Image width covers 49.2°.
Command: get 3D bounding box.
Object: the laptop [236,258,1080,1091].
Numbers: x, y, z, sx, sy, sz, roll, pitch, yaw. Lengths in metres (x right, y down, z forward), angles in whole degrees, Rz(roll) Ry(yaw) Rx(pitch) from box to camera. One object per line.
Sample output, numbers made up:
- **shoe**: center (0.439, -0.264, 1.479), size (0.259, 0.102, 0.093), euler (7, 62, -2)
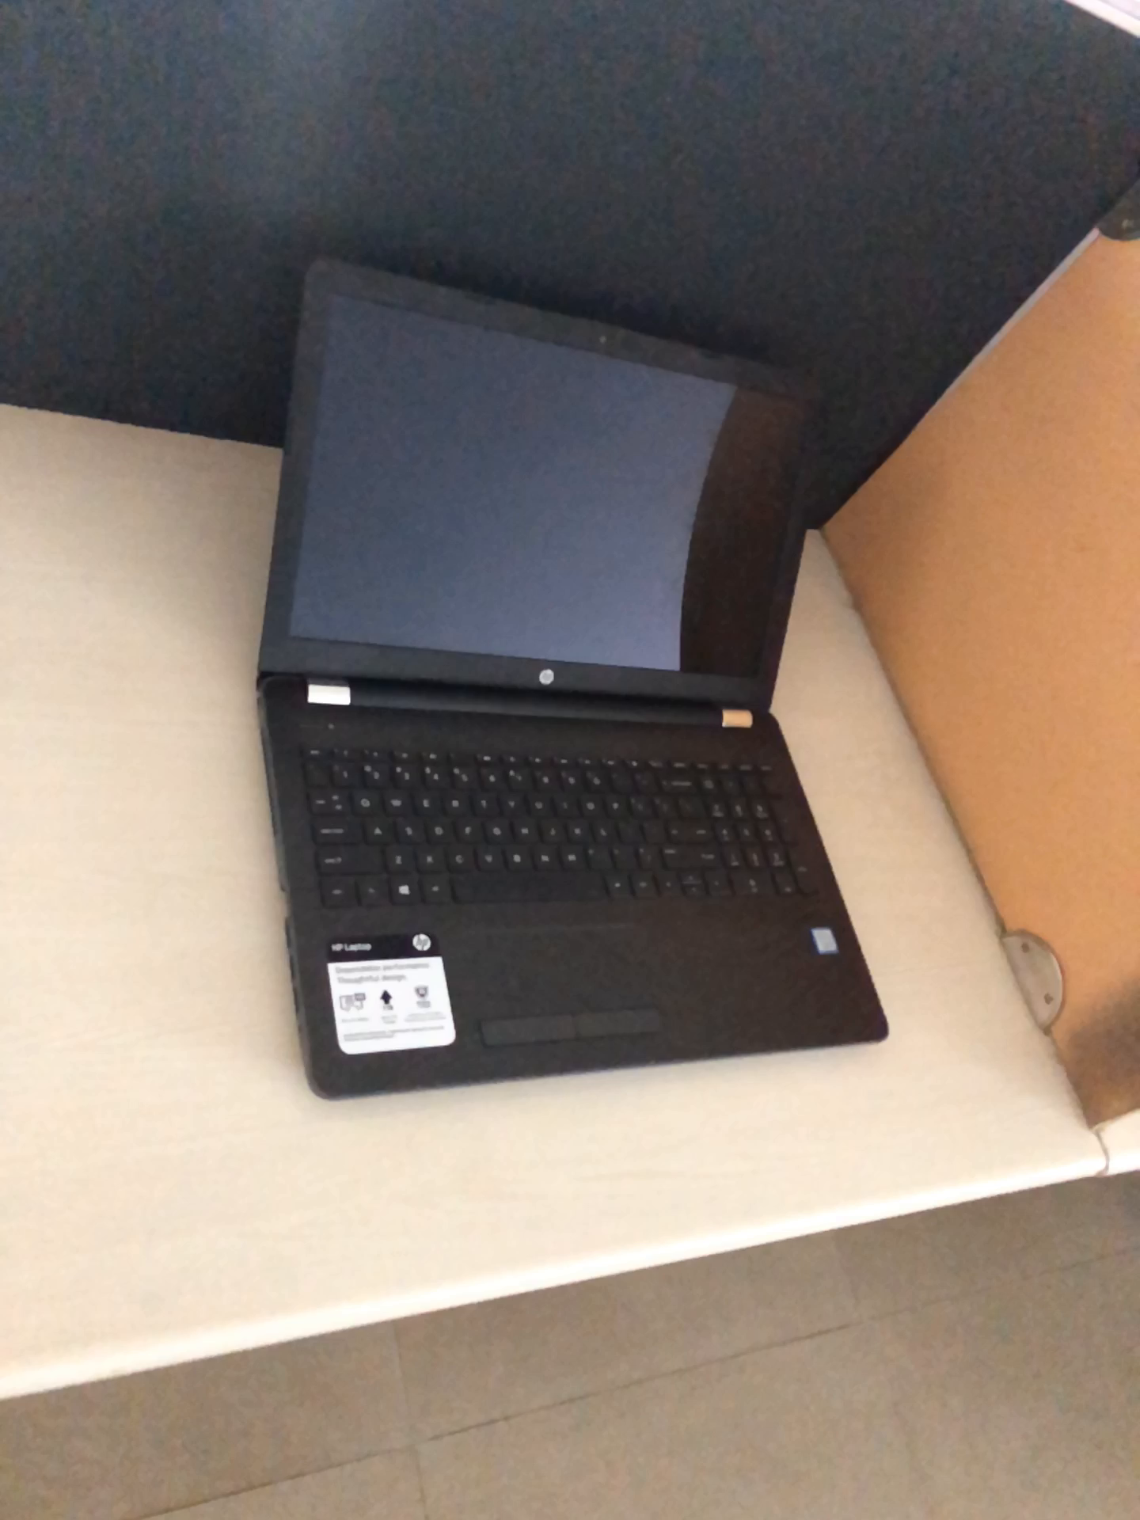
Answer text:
- **laptop**: center (0.031, -0.050, 0.746), size (0.378, 0.173, 0.409), euler (2, 57, -30)
